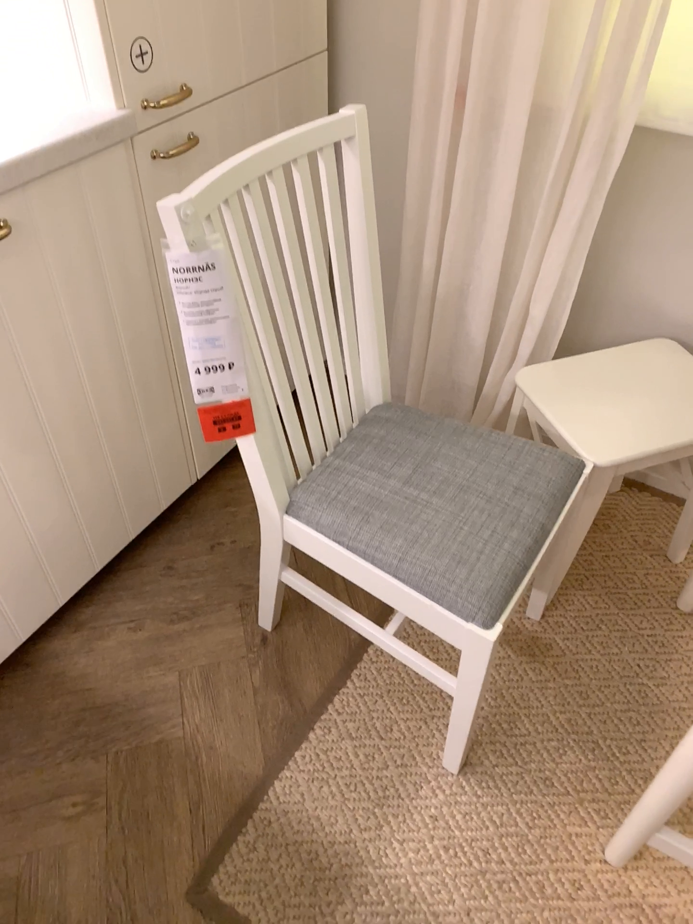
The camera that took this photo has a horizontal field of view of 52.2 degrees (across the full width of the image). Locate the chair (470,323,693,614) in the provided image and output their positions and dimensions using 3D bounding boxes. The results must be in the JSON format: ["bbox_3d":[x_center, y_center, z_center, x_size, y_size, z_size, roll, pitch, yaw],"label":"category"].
[{"bbox_3d":[0.598,0.003,1.573,0.460,0.388,0.402,-13,46,-14],"label":"chair"}]

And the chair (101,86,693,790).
[{"bbox_3d":[0.105,-0.026,1.226,0.621,0.915,0.552,25,49,22],"label":"chair"}]
